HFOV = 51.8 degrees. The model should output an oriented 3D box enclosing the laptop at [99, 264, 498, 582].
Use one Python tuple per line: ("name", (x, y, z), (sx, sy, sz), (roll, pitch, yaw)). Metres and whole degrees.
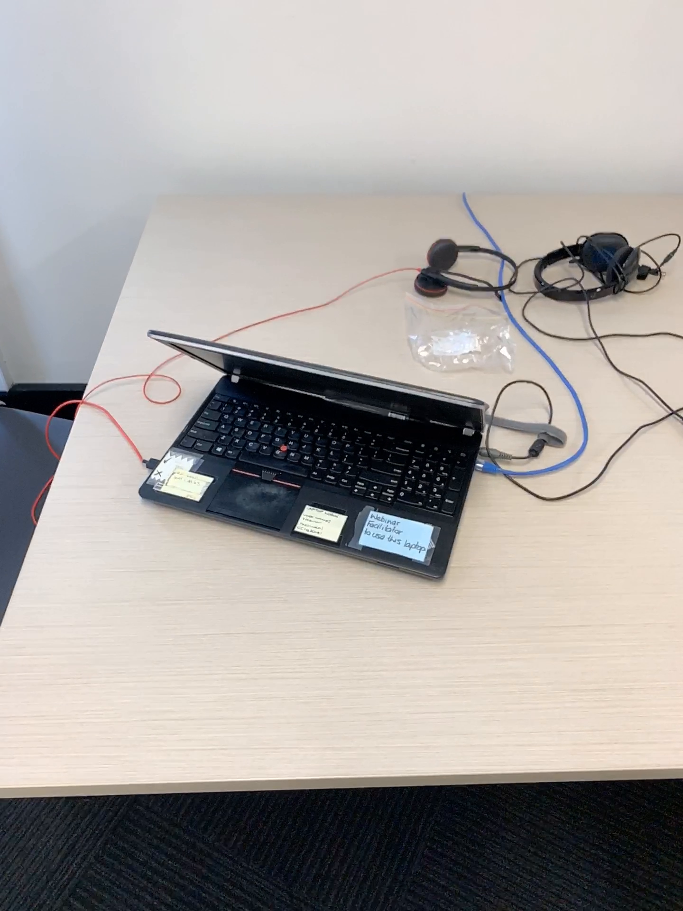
("laptop", (-0.028, -0.050, 0.711), (0.326, 0.157, 0.227), (13, 42, 14))
